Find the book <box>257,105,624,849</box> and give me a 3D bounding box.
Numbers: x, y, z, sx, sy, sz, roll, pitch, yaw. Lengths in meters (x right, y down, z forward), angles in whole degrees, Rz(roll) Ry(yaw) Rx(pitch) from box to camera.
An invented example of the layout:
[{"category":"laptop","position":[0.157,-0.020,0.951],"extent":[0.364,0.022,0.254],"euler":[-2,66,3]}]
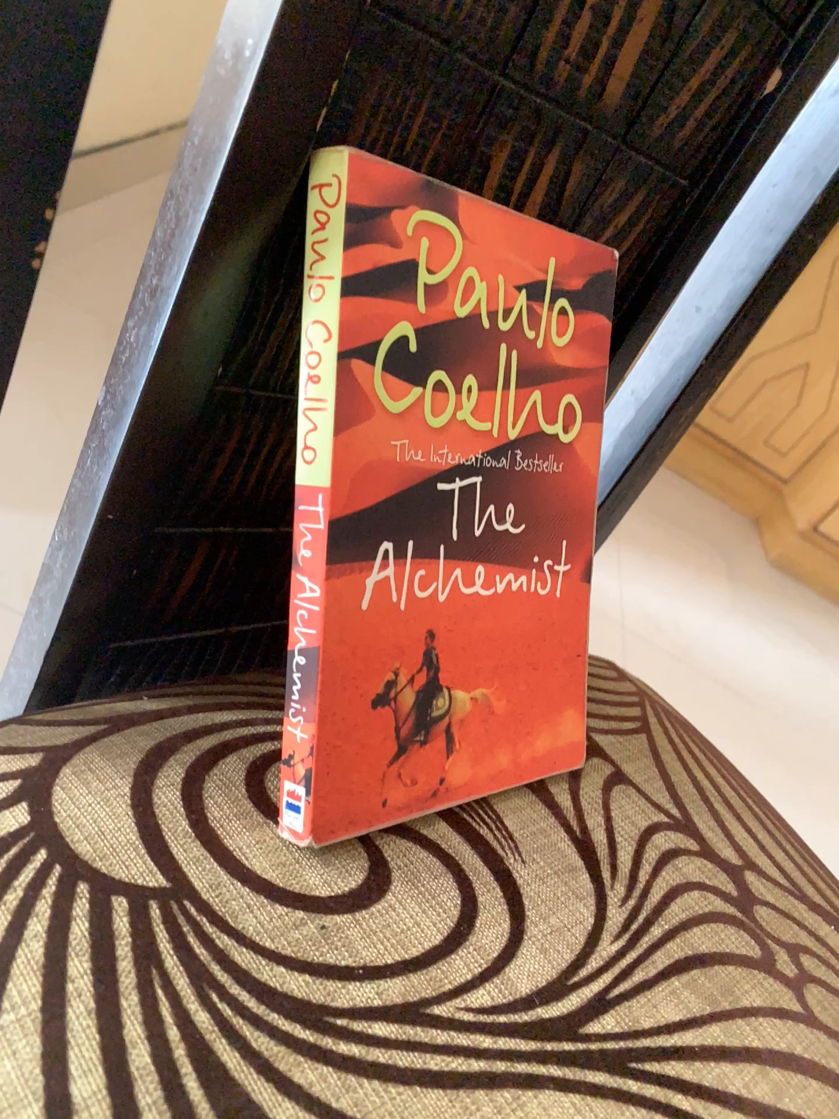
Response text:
[{"category":"book","position":[0.015,-0.023,0.294],"extent":[0.141,0.200,0.030],"euler":[0,2,-44]}]
